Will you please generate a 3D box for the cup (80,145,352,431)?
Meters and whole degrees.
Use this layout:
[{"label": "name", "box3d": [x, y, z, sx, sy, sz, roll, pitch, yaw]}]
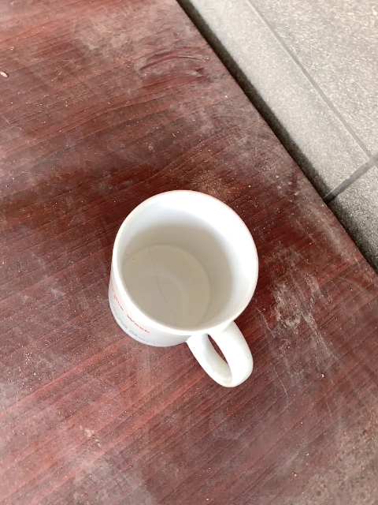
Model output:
[{"label": "cup", "box3d": [0.006, 0.025, 0.246, 0.090, 0.100, 0.120, -32, 80, -21]}]
